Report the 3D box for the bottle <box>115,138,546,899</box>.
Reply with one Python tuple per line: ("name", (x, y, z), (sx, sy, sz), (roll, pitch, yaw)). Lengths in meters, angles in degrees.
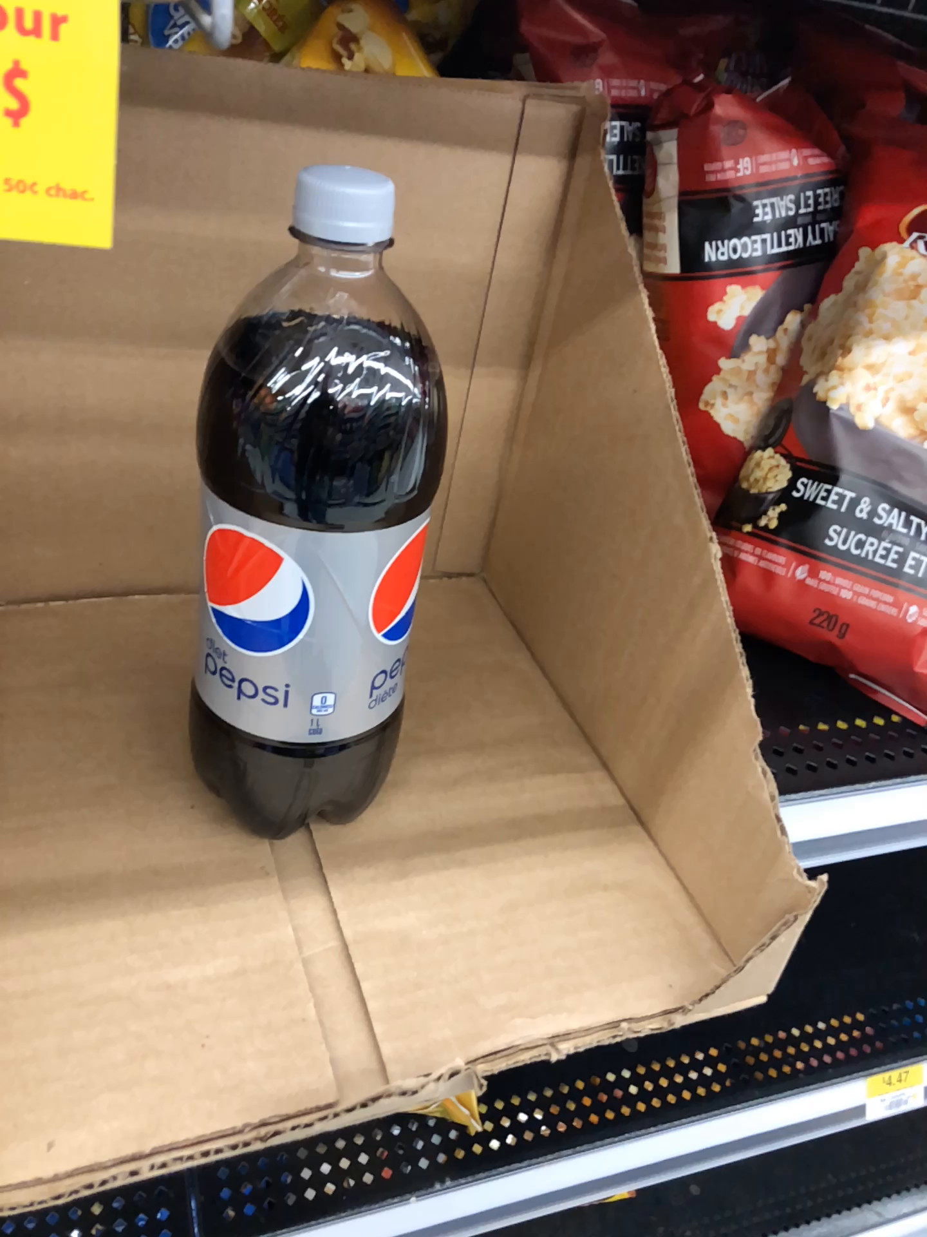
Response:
("bottle", (-0.052, -0.027, 0.348), (0.080, 0.228, 0.091), (27, 38, 19))
